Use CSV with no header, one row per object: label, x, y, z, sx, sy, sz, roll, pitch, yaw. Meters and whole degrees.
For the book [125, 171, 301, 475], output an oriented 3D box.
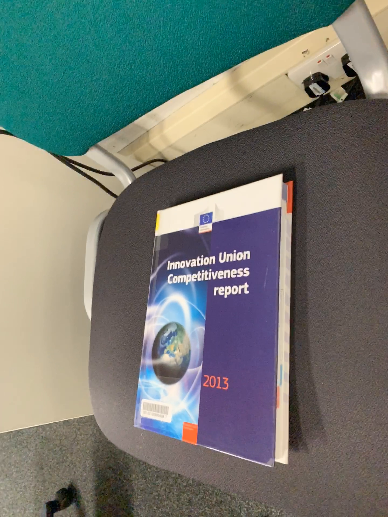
book,0.012,0.055,0.406,0.195,0.026,0.250,-9,70,46
